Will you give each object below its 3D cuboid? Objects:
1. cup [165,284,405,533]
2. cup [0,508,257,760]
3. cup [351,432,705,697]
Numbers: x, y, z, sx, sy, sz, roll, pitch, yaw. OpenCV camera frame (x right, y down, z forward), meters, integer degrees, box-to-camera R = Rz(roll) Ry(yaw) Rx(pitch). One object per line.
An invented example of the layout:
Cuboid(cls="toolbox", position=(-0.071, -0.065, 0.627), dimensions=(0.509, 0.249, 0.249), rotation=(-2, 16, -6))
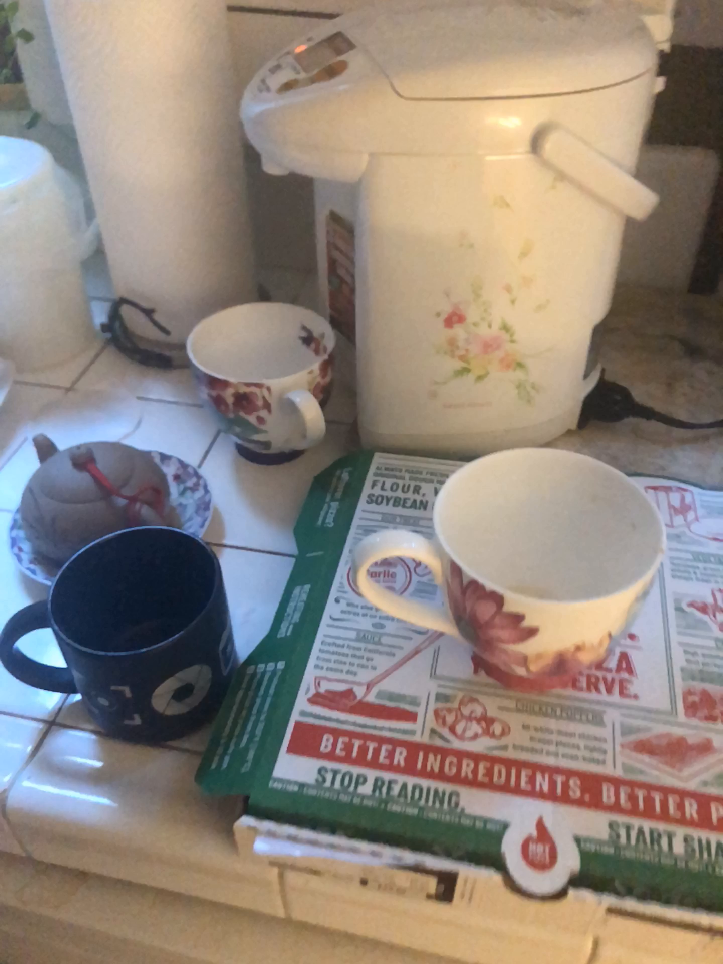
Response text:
Cuboid(cls="cup", position=(-0.059, -0.063, 0.611), dimensions=(0.110, 0.089, 0.161), rotation=(-24, 47, -24))
Cuboid(cls="cup", position=(-0.136, 0.087, 0.460), dimensions=(0.140, 0.099, 0.091), rotation=(-4, 42, -3))
Cuboid(cls="cup", position=(0.072, 0.039, 0.409), dimensions=(0.150, 0.069, 0.111), rotation=(-2, 42, -1))
